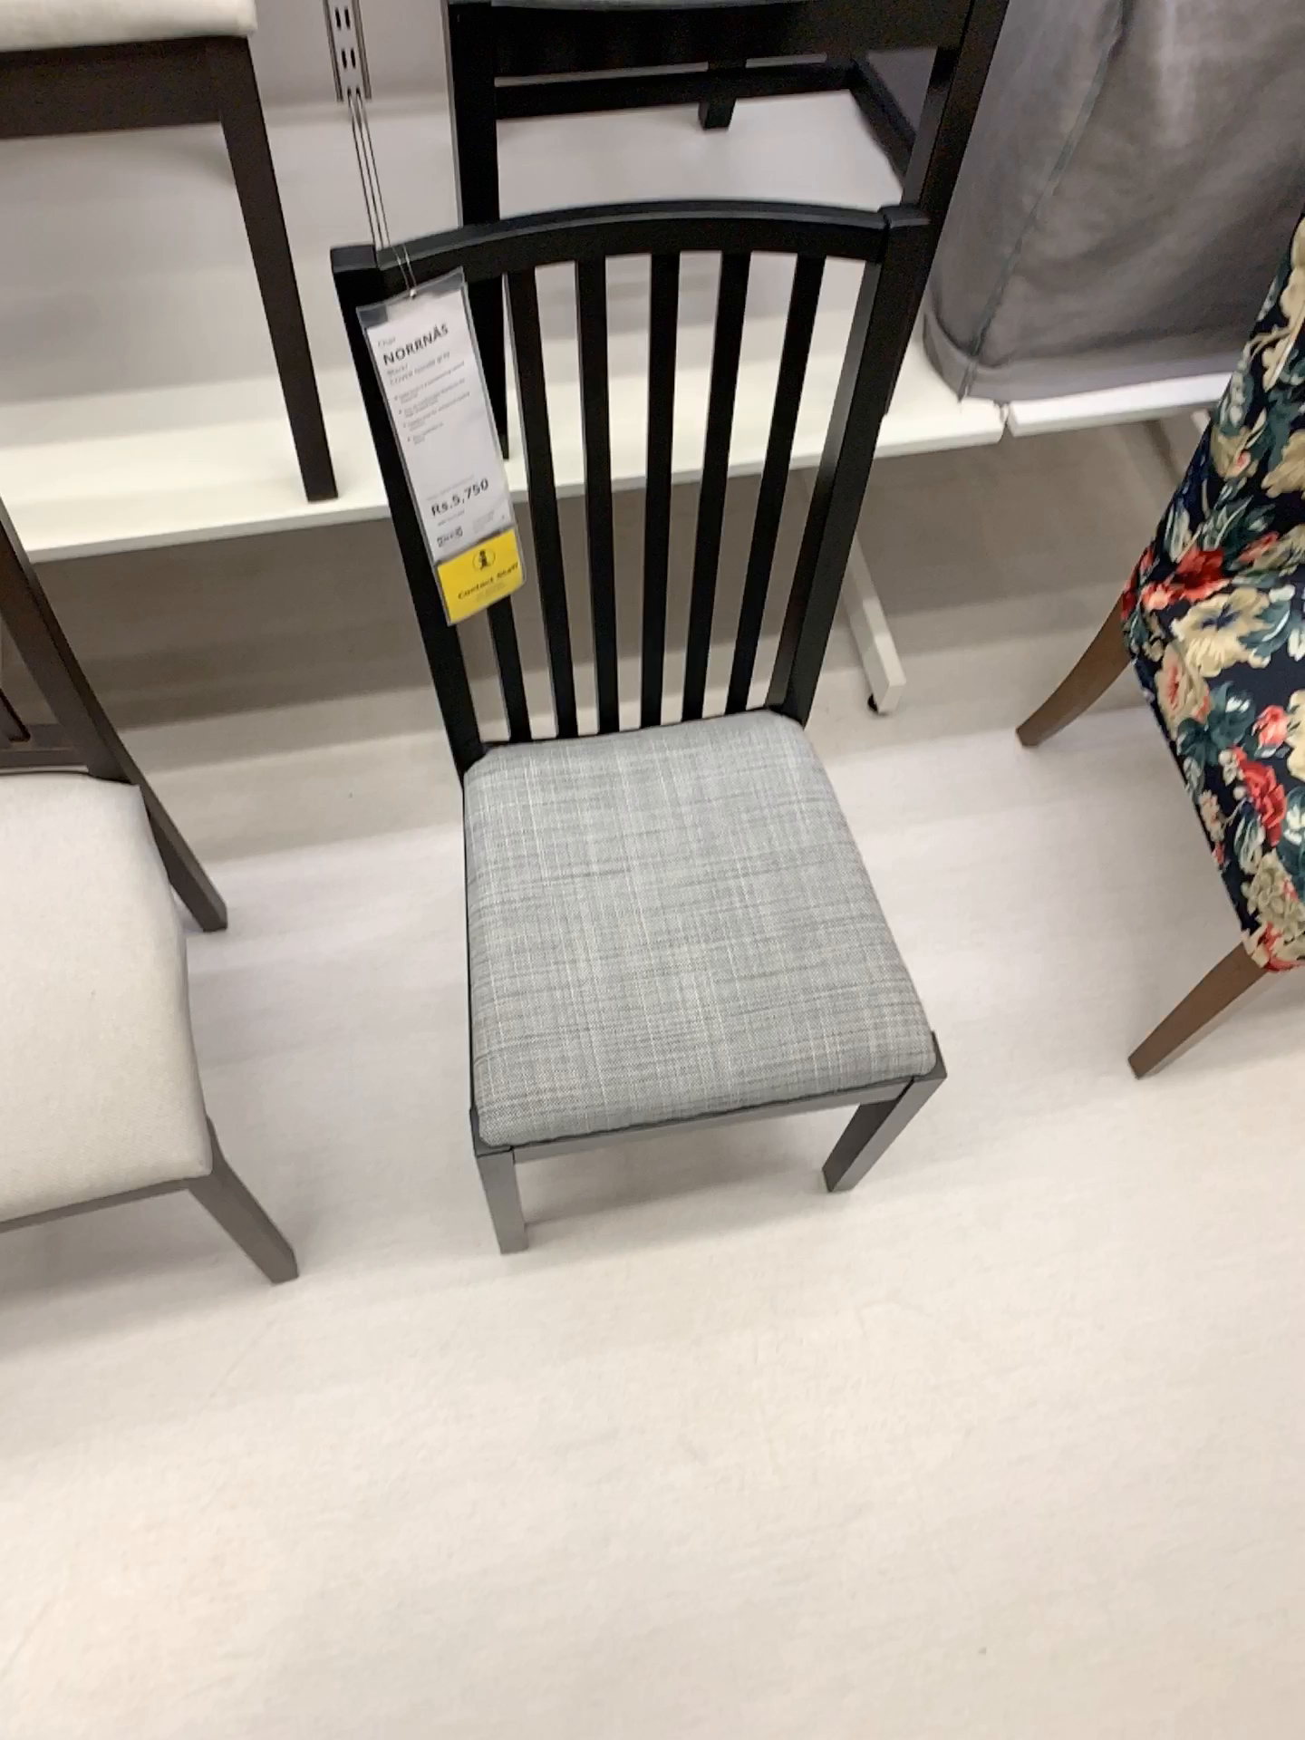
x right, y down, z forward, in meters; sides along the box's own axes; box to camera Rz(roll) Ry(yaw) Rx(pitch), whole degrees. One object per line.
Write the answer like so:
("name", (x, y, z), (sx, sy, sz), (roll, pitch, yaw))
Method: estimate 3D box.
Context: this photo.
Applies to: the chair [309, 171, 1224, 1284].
("chair", (0.012, -0.023, 1.195), (0.440, 0.898, 0.551), (-8, 64, -8))
